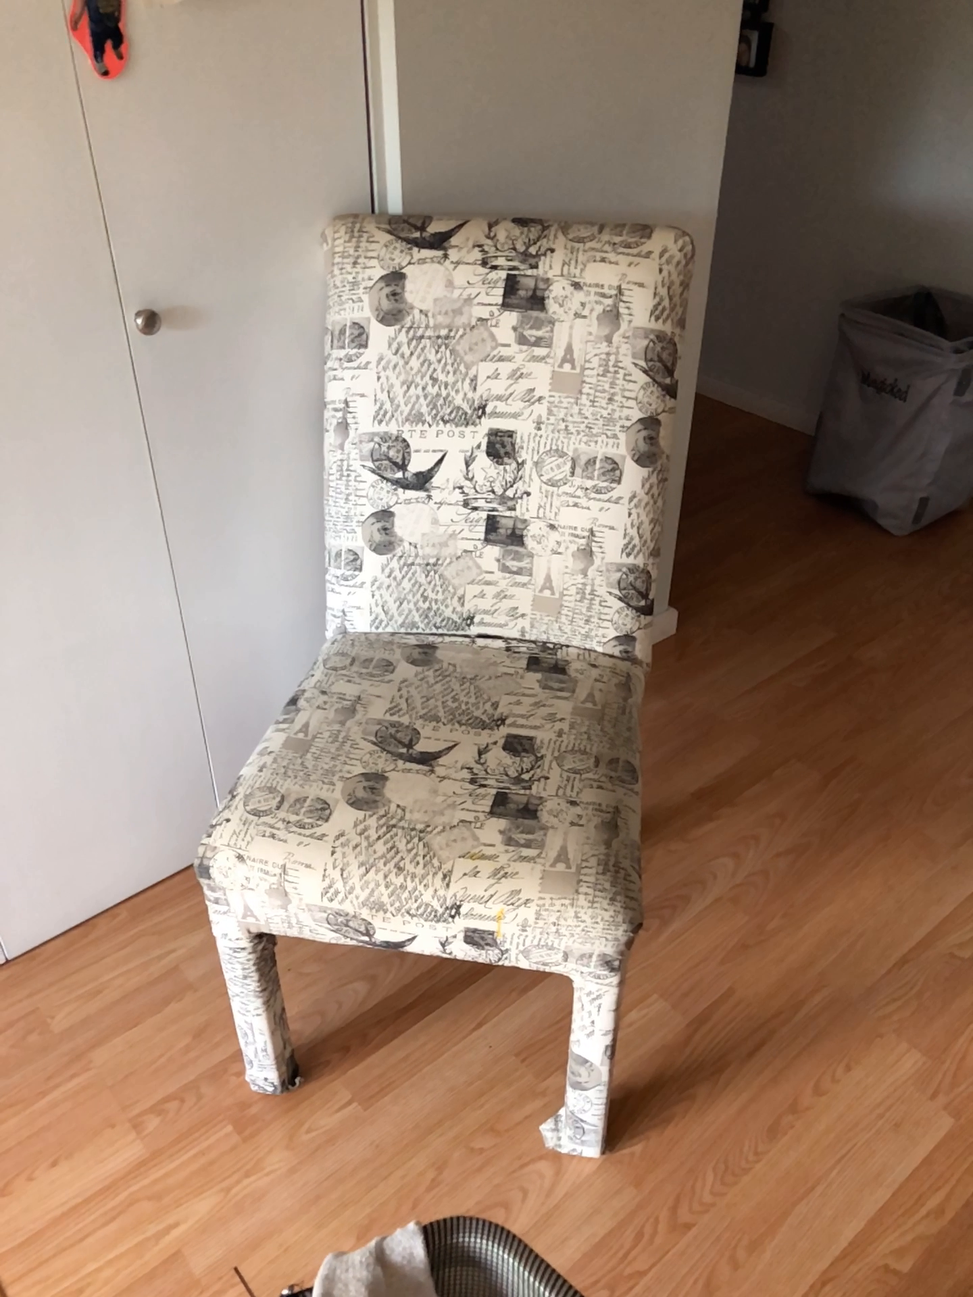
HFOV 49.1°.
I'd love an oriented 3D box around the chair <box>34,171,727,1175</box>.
[{"bbox_3d":[-0.031,0.019,1.332,0.520,0.997,0.672,6,35,9],"label":"chair"}]
